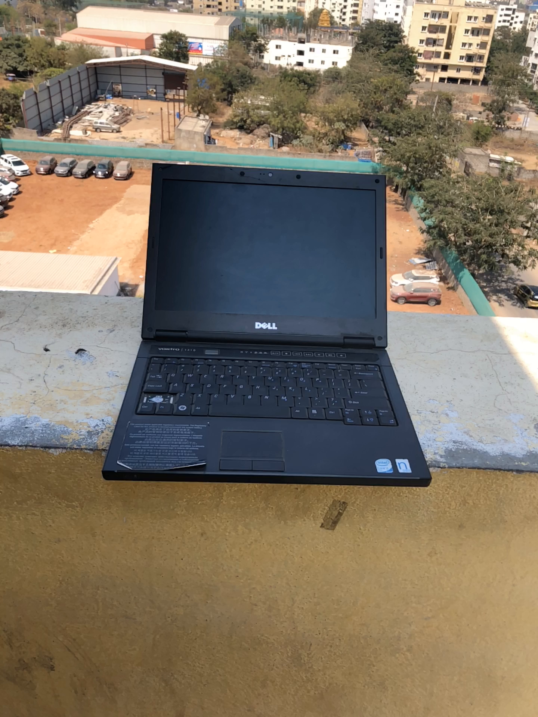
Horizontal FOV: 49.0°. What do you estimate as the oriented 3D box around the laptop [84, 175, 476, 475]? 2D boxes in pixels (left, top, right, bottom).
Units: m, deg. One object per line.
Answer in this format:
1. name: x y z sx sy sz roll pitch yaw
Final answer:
1. laptop: 0.005 -0.065 0.662 0.301 0.177 0.378 1 32 -1
